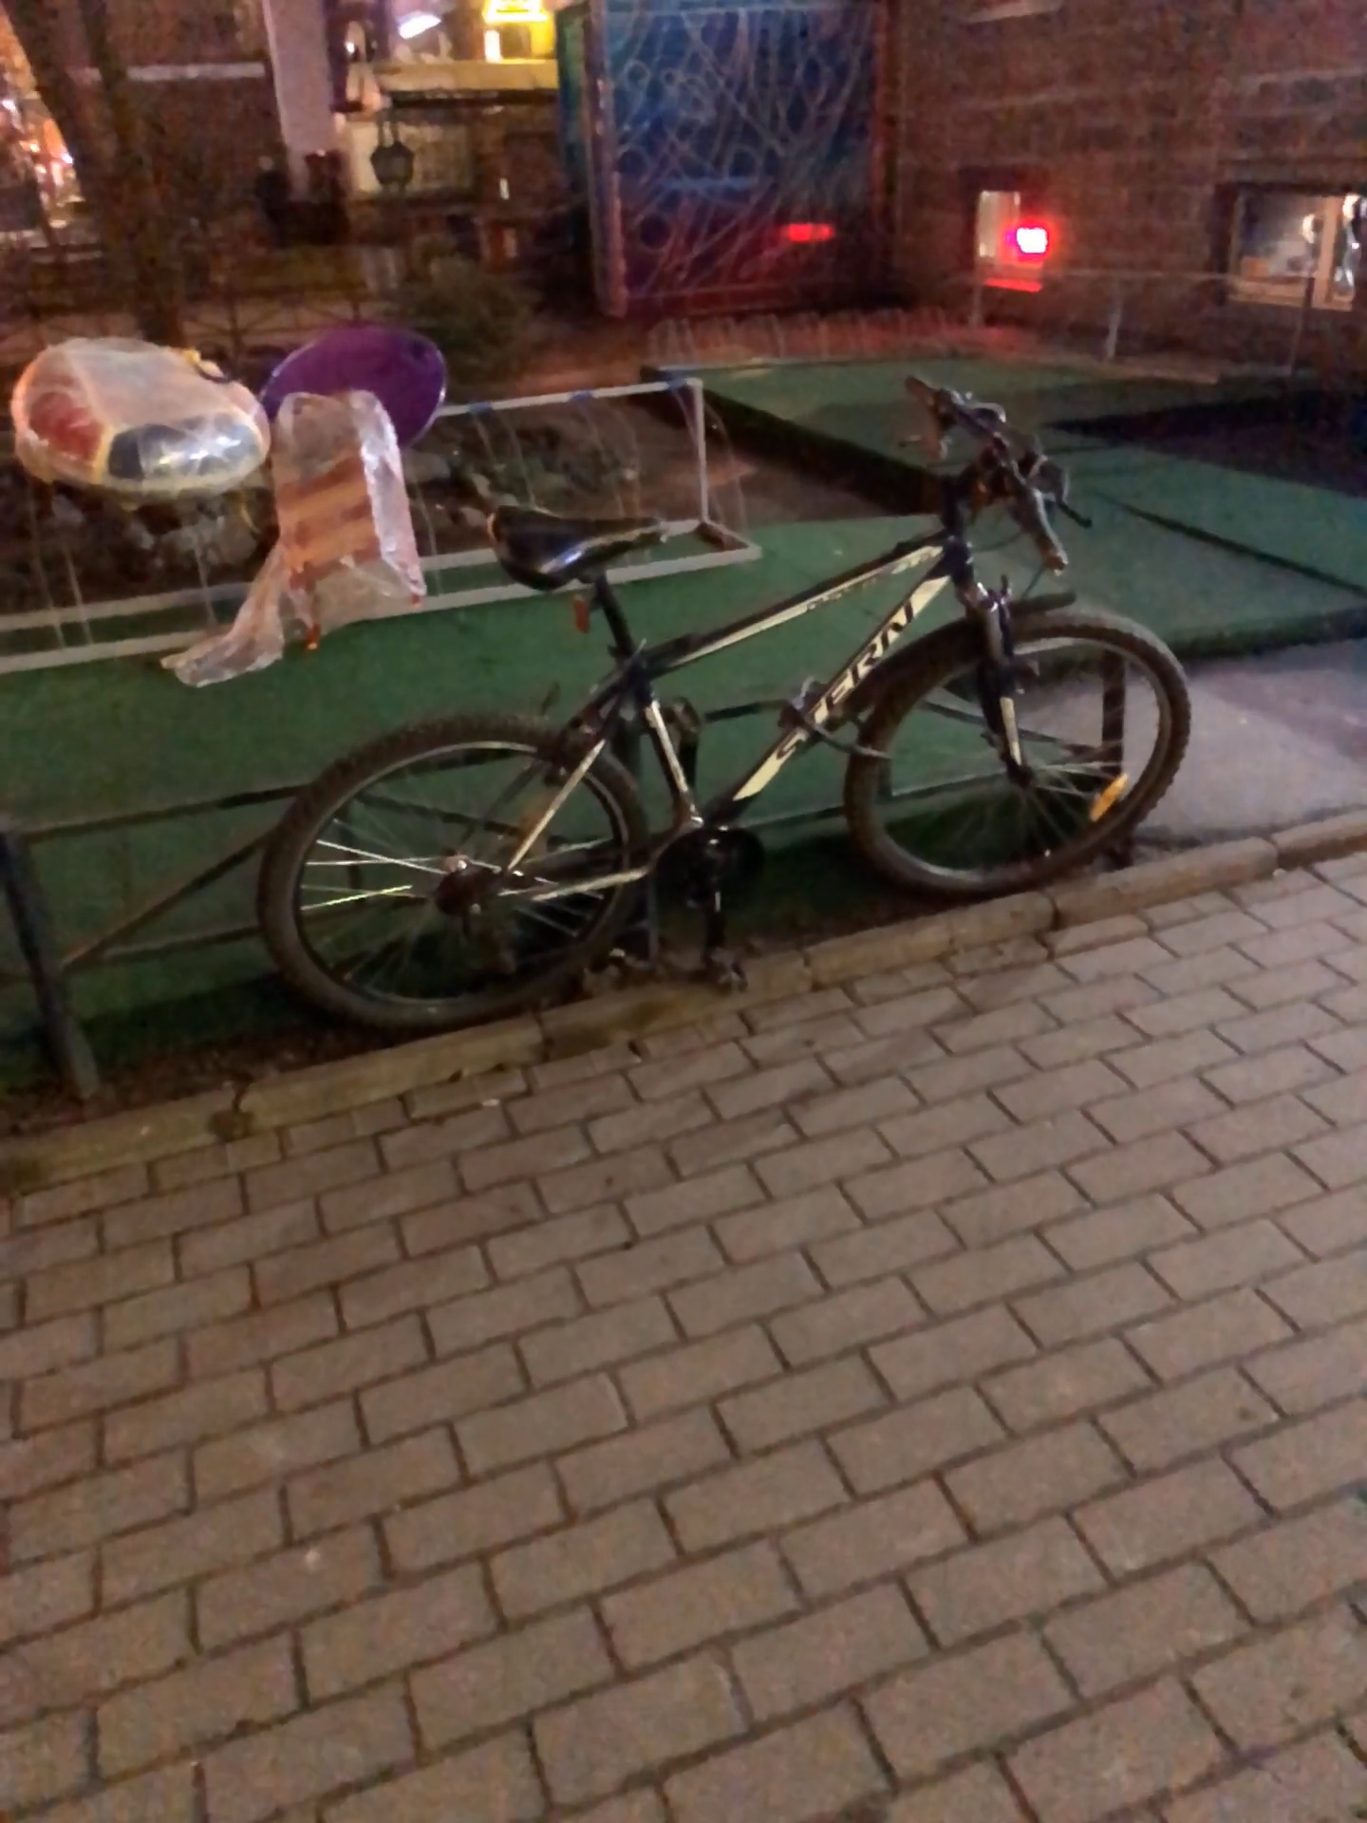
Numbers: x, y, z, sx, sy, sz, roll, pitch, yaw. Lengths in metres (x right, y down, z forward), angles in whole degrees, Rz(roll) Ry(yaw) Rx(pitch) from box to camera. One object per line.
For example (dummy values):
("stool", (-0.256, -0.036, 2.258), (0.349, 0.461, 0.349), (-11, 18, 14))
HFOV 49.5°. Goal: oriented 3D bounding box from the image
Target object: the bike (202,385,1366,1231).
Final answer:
("bike", (0.146, -0.225, 2.132), (1.457, 0.883, 0.532), (-10, 26, -17))
